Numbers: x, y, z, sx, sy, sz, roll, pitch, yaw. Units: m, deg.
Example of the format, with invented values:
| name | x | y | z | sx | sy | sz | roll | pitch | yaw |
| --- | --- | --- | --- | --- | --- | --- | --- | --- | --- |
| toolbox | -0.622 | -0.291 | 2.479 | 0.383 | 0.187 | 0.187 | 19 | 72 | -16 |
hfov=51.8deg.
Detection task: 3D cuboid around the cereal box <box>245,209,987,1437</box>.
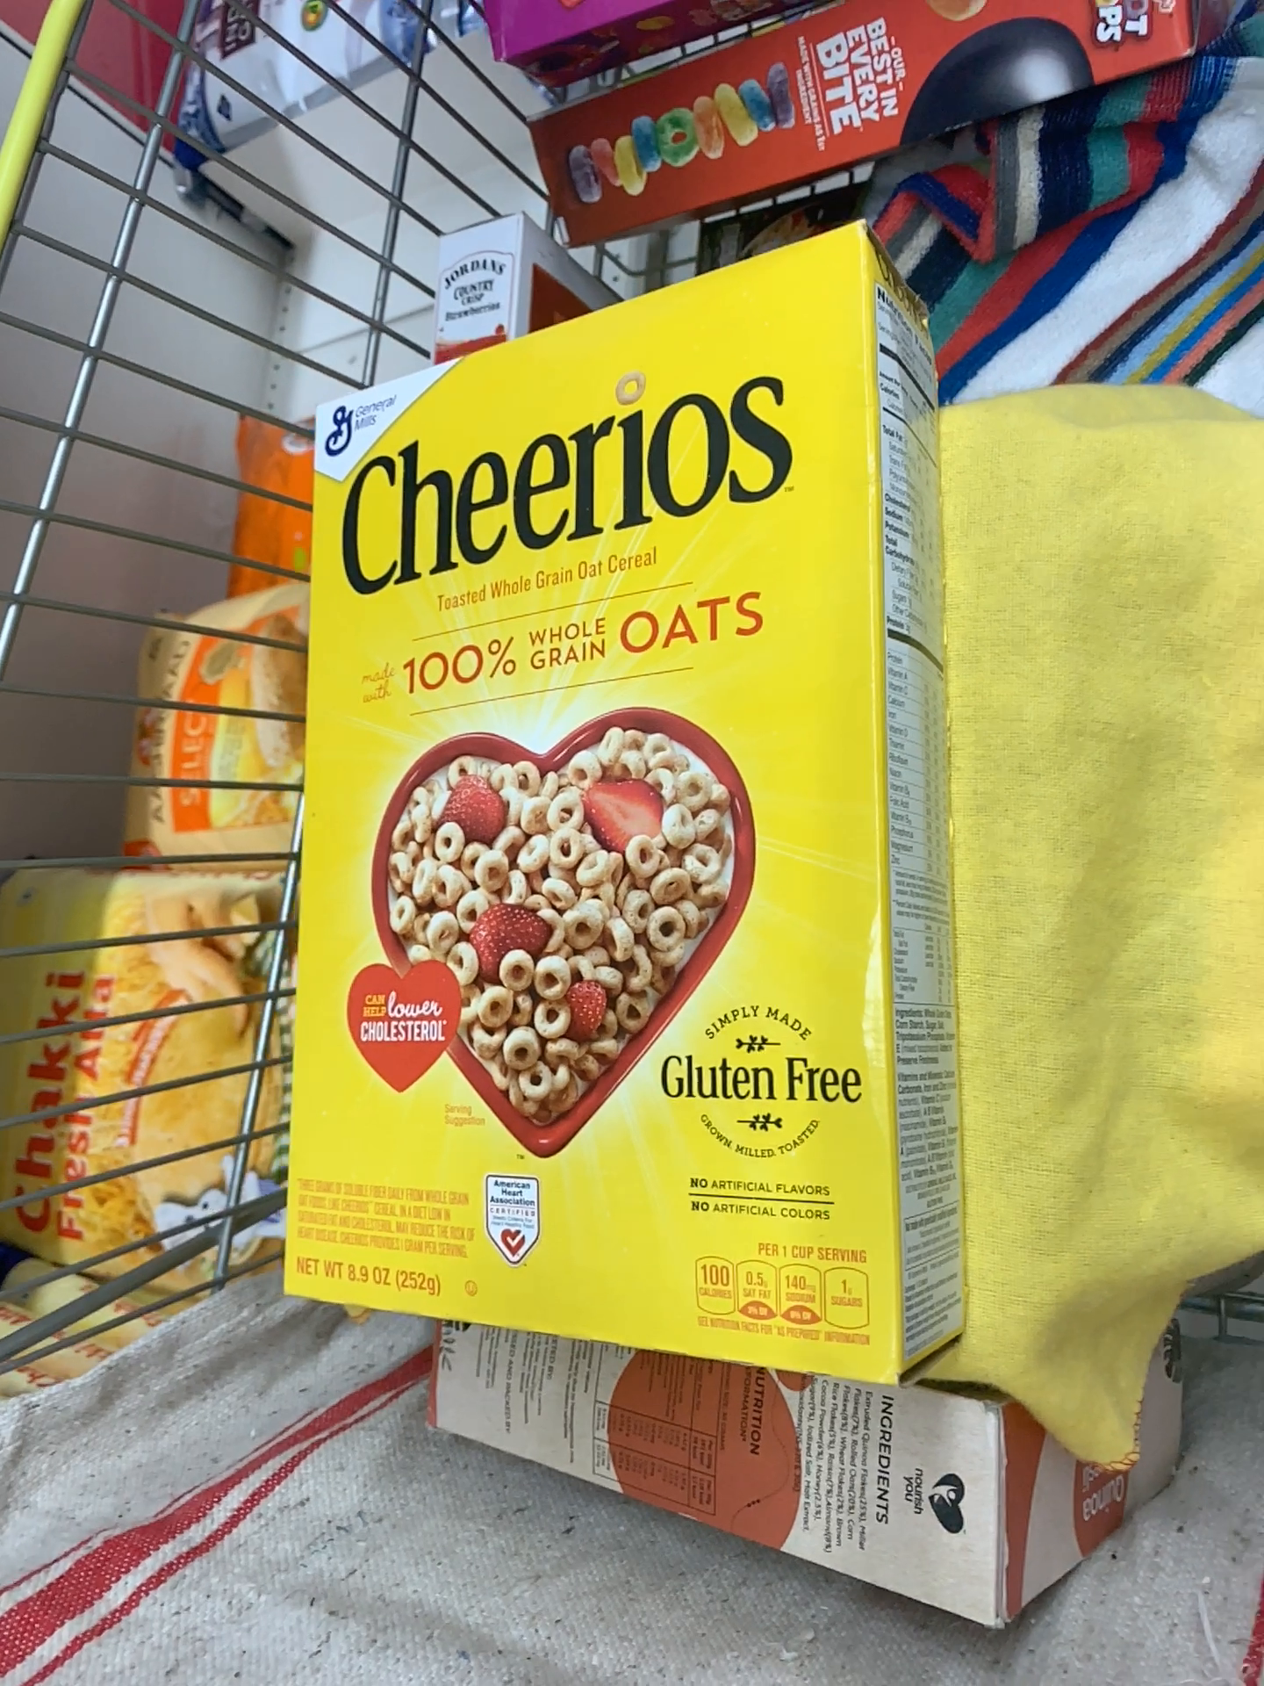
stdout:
| name | x | y | z | sx | sy | sz | roll | pitch | yaw |
| --- | --- | --- | --- | --- | --- | --- | --- | --- | --- |
| cereal box | -0.011 | -0.002 | 0.357 | 0.191 | 0.060 | 0.270 | -5 | 80 | 32 |
